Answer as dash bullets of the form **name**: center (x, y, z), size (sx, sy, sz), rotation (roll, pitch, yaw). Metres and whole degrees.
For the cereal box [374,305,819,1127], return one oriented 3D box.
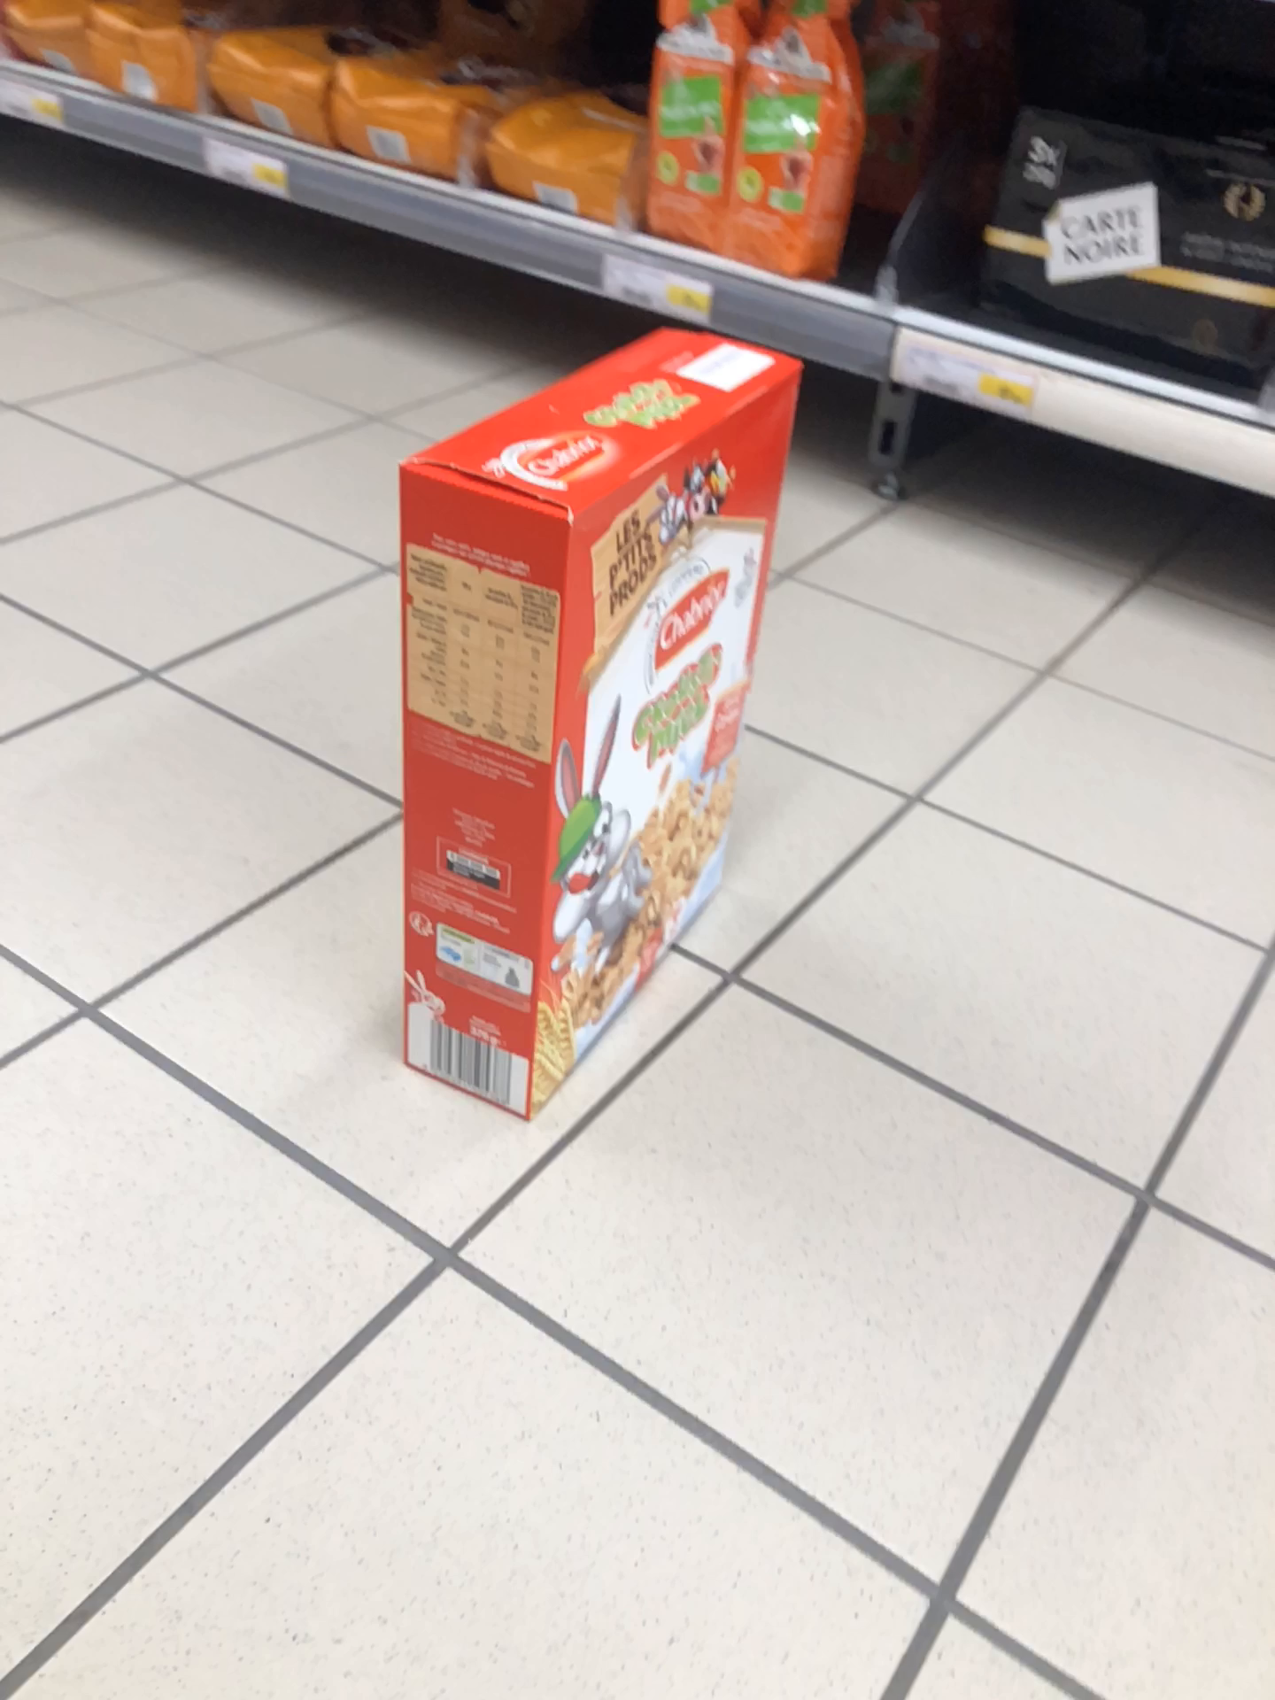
- **cereal box**: center (-0.018, -0.057, 0.574), size (0.070, 0.268, 0.201), rotation (21, 38, 19)
